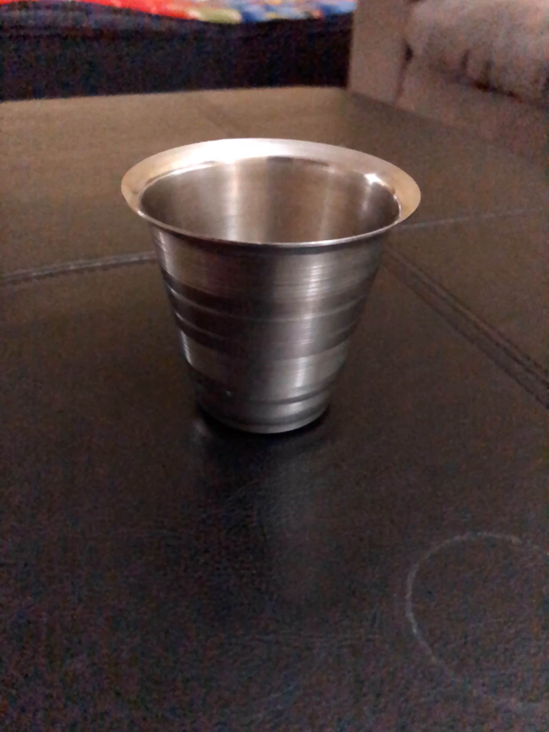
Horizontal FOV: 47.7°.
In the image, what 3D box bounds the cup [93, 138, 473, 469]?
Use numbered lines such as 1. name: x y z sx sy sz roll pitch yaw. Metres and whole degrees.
1. cup: -0.001 -0.020 0.155 0.067 0.052 0.074 2 33 -1
